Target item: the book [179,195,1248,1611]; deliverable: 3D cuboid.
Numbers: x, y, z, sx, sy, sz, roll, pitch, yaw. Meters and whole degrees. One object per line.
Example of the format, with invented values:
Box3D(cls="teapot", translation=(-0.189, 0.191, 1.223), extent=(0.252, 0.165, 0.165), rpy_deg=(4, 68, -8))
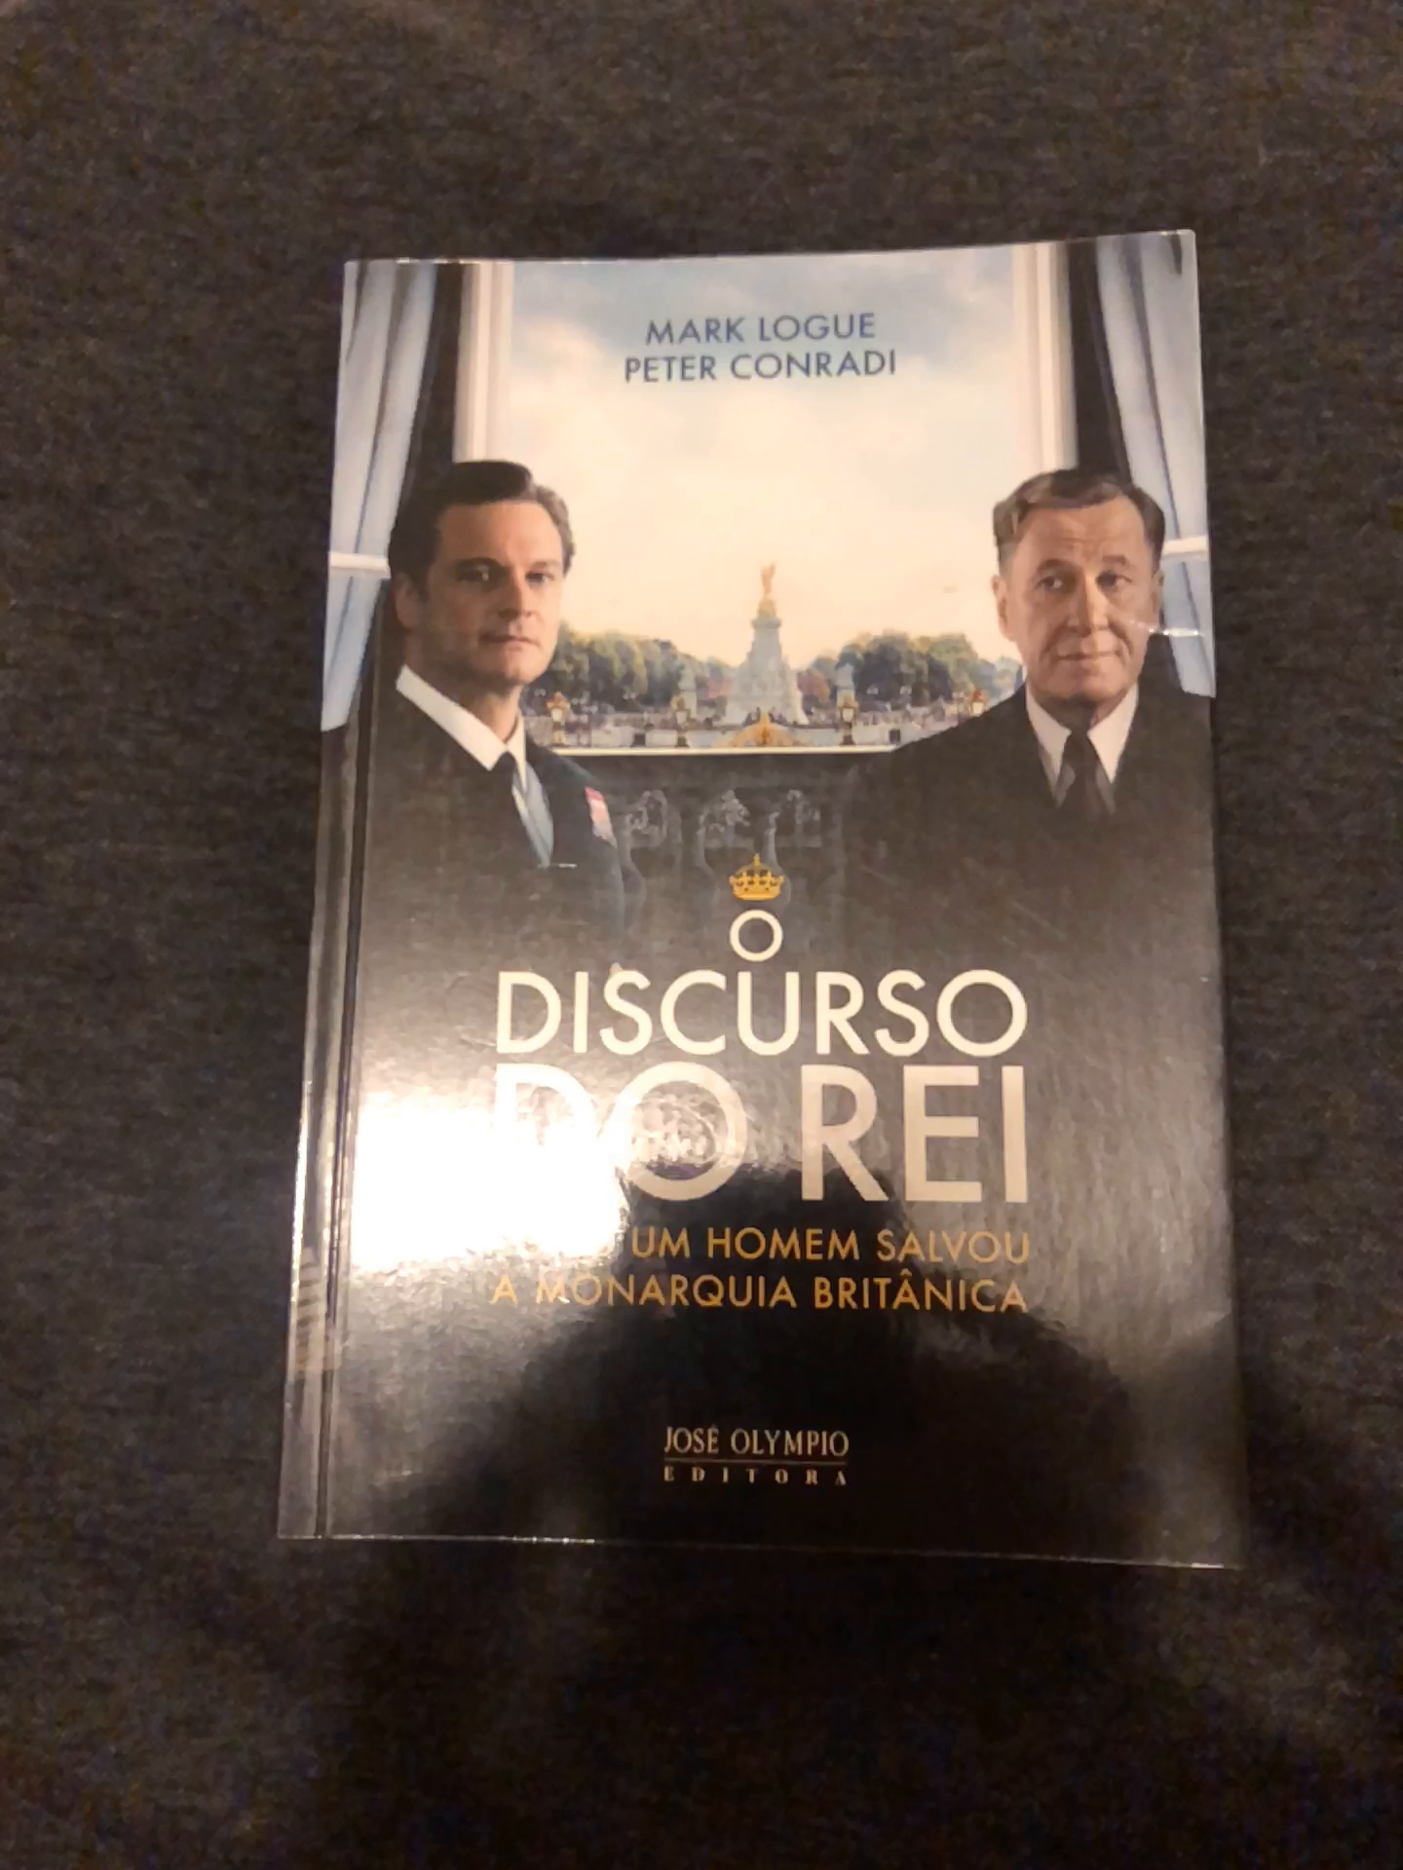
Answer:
Box3D(cls="book", translation=(0.003, -0.013, 0.270), extent=(0.160, 0.030, 0.230), rpy_deg=(0, 79, 5))
